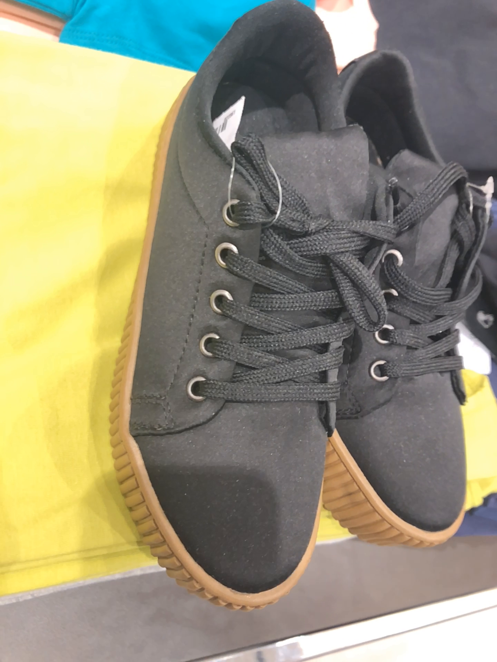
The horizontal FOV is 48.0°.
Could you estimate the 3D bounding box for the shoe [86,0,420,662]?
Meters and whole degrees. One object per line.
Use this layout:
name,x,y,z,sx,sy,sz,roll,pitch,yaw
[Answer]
shoe,-0.006,-0.015,0.223,0.090,0.080,0.230,5,74,-28

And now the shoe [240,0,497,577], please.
shoe,0.065,-0.024,0.271,0.090,0.080,0.240,1,77,-29
